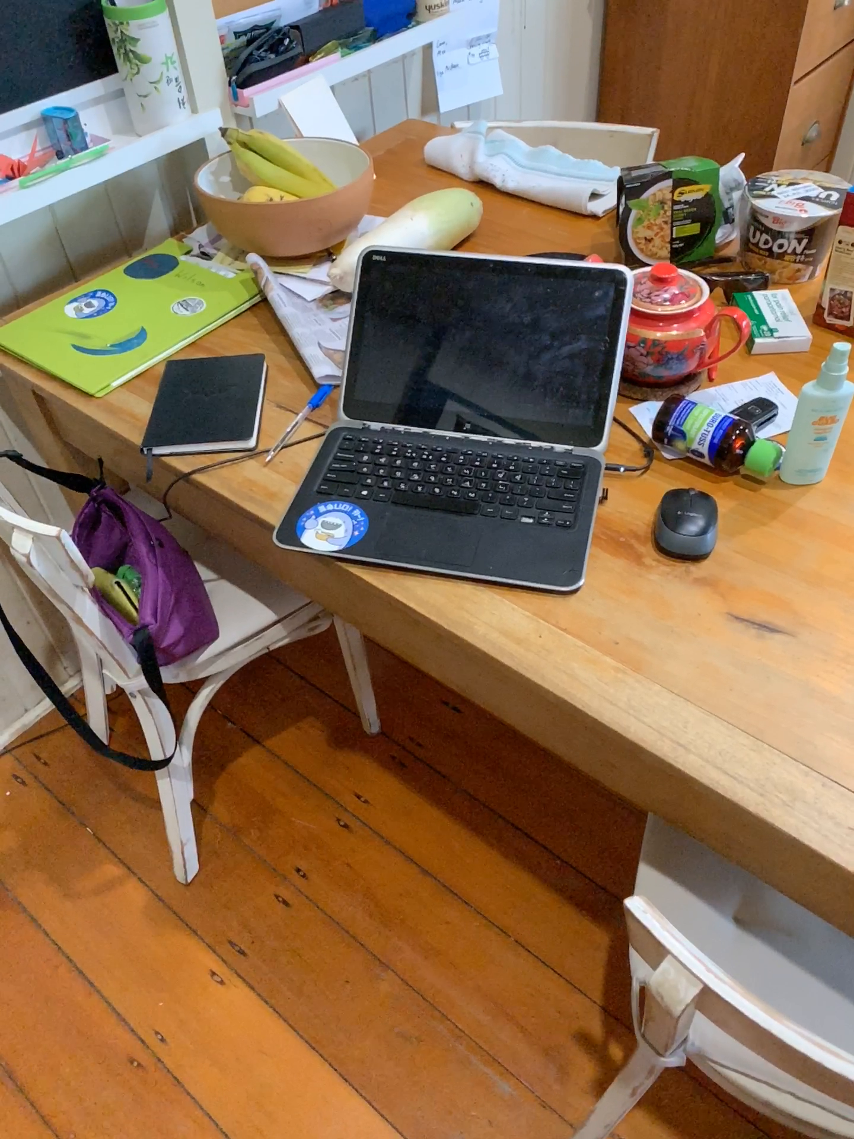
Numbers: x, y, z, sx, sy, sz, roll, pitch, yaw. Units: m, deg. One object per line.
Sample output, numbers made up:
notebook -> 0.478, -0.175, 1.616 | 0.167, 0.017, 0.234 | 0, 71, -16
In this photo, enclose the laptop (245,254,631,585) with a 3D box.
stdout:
laptop -> 0.033, -0.173, 0.905 | 0.303, 0.139, 0.340 | 8, 47, 12
